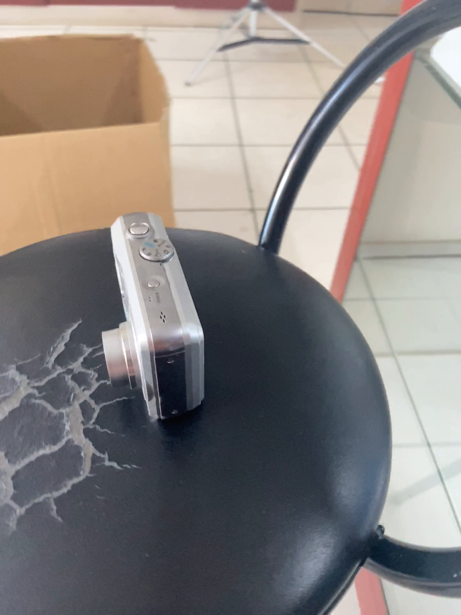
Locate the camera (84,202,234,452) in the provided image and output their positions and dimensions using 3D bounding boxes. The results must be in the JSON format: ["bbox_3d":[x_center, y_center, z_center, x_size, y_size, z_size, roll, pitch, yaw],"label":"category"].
[{"bbox_3d":[-0.037,0.005,0.234,0.050,0.060,0.100,-10,48,-12],"label":"camera"}]
